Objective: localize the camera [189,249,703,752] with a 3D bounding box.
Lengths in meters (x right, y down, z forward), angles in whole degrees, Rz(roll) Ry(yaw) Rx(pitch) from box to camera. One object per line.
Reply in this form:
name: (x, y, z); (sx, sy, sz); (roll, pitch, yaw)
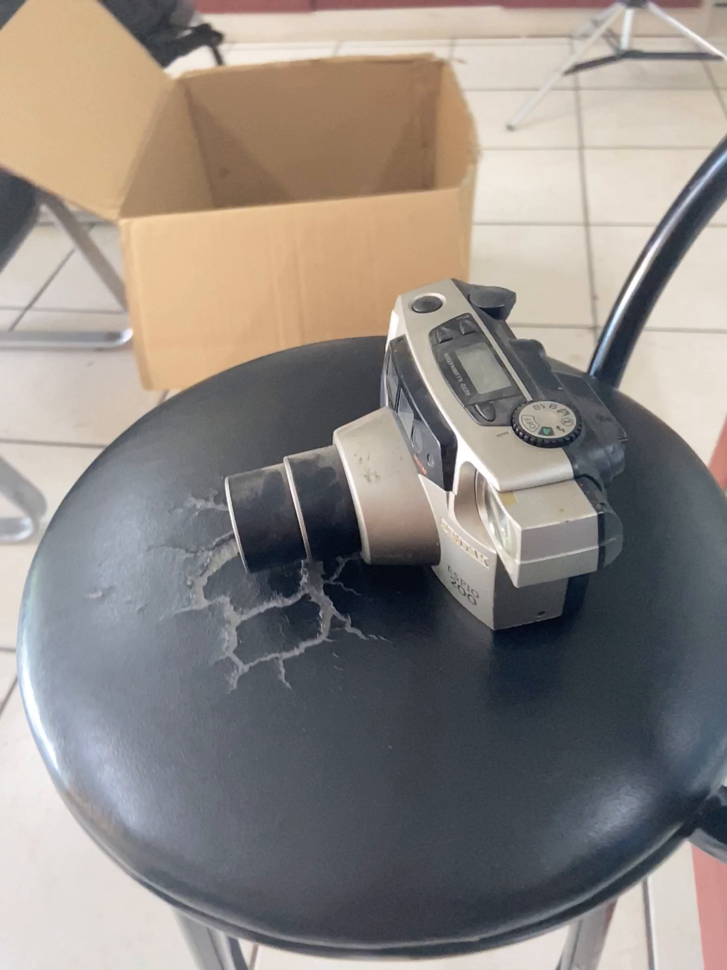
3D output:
camera: (0.017, -0.003, 0.265); (0.120, 0.080, 0.131); (-16, 47, -9)
